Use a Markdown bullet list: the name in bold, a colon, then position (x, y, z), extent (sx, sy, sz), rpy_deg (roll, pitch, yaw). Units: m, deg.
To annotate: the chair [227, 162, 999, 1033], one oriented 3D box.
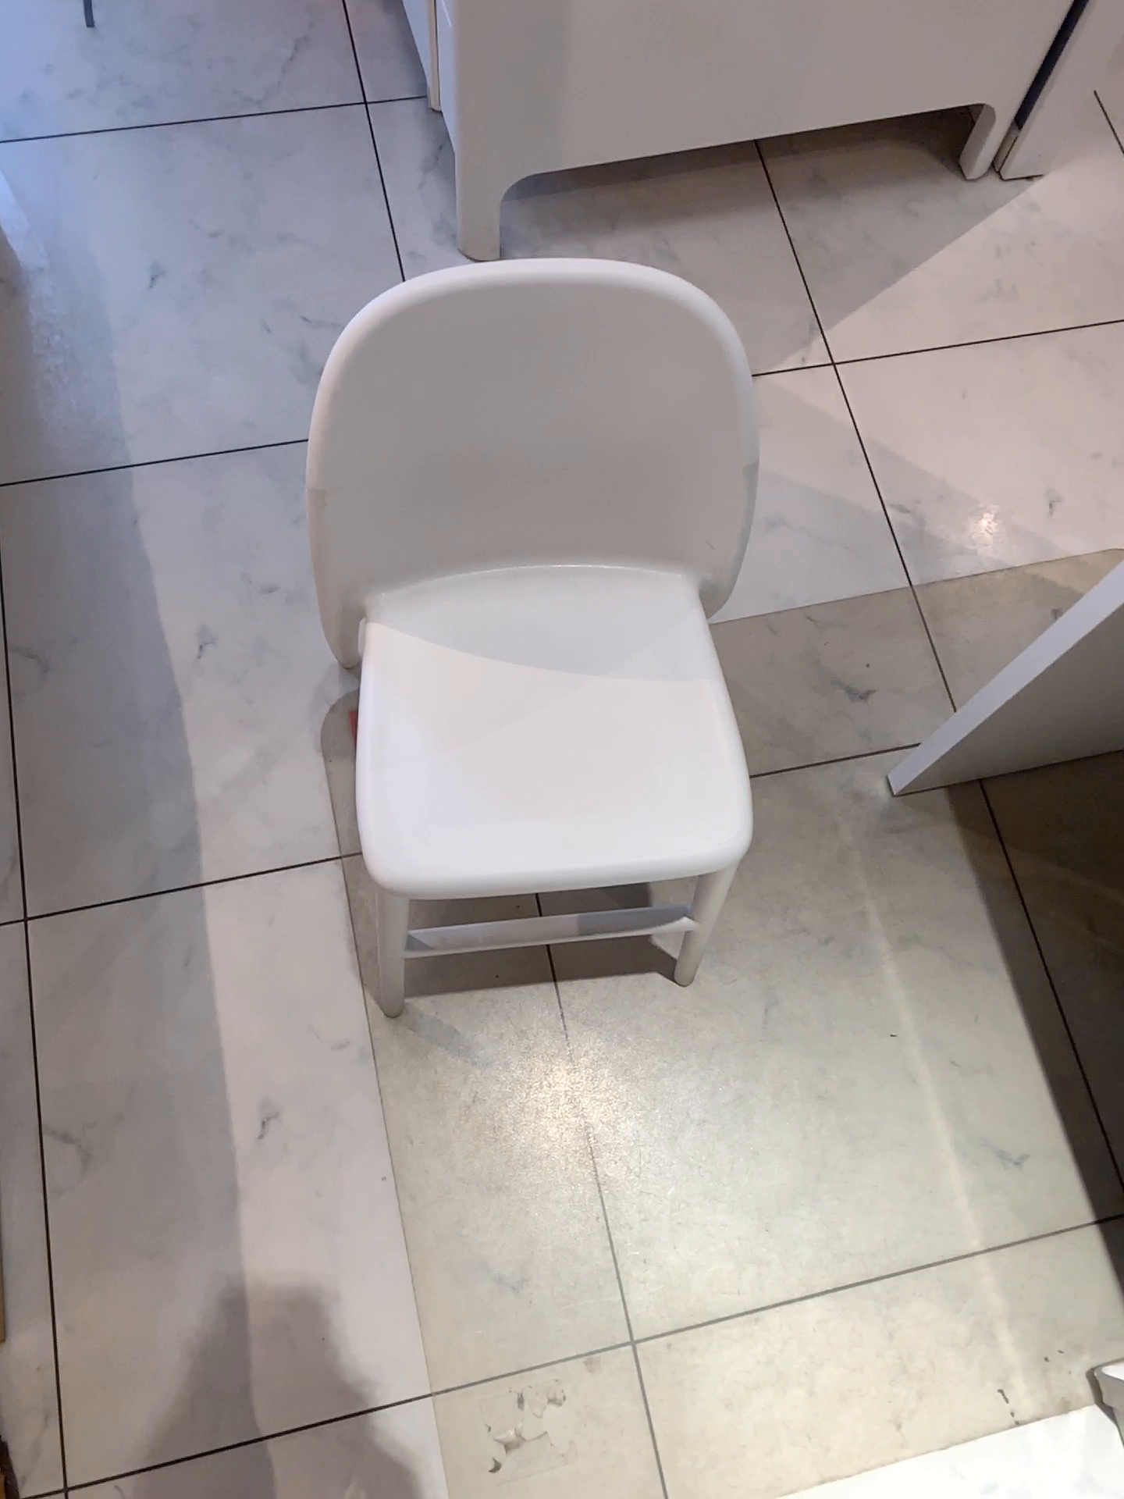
- **chair**: position (-0.011, -0.053, 1.044), extent (0.430, 0.700, 0.500), rpy_deg (-4, 71, -5)
